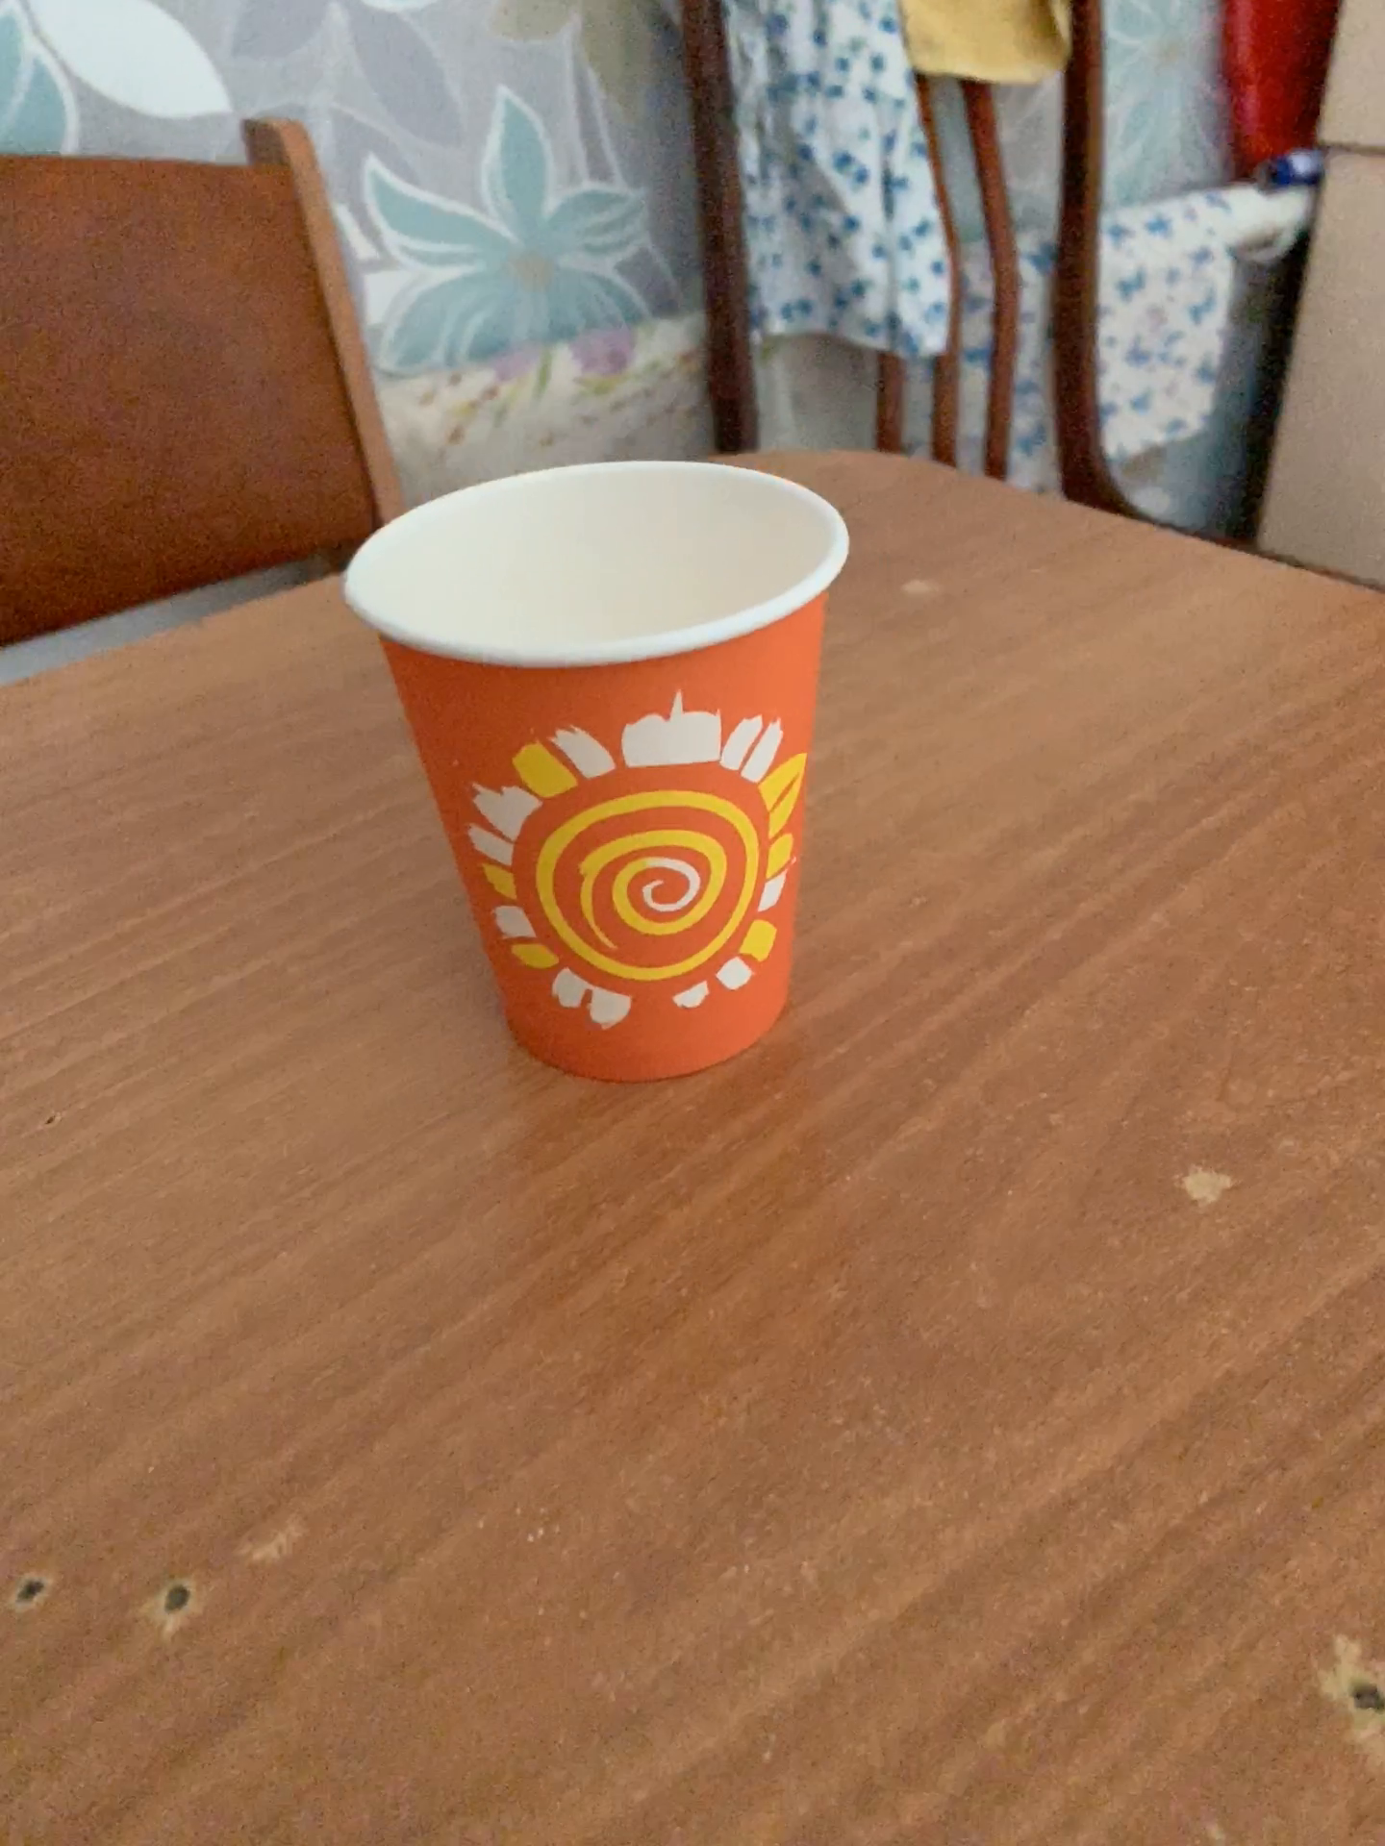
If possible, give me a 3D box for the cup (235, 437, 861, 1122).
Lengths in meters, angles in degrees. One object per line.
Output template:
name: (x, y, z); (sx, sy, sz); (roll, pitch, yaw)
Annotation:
cup: (-0.015, -0.030, 0.262); (0.084, 0.087, 0.089); (-3, 36, 2)
